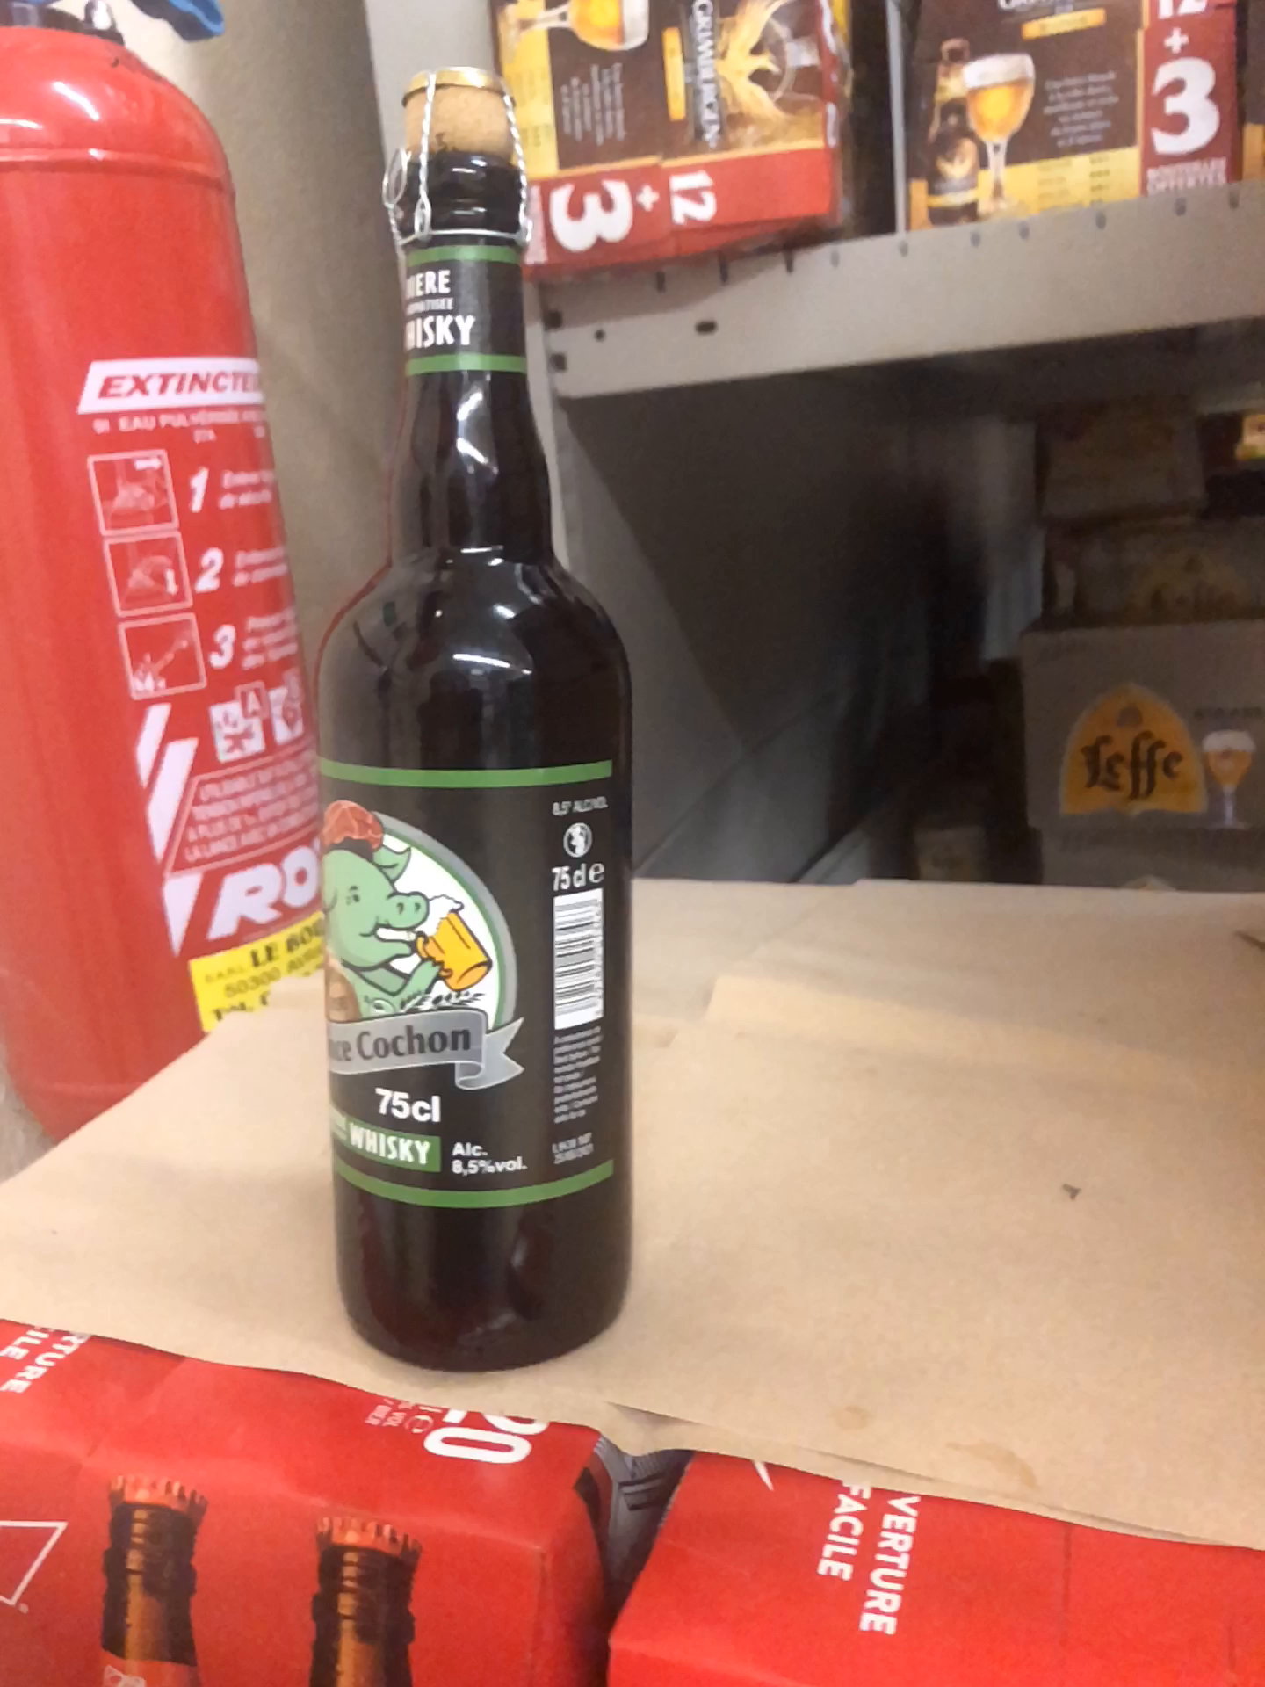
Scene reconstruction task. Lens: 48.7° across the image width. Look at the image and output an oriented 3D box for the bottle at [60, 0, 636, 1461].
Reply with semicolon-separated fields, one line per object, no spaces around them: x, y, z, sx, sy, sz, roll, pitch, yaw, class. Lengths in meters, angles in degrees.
-0.061;-0.025;0.333;0.090;0.299;0.080;3;9;31;bottle
